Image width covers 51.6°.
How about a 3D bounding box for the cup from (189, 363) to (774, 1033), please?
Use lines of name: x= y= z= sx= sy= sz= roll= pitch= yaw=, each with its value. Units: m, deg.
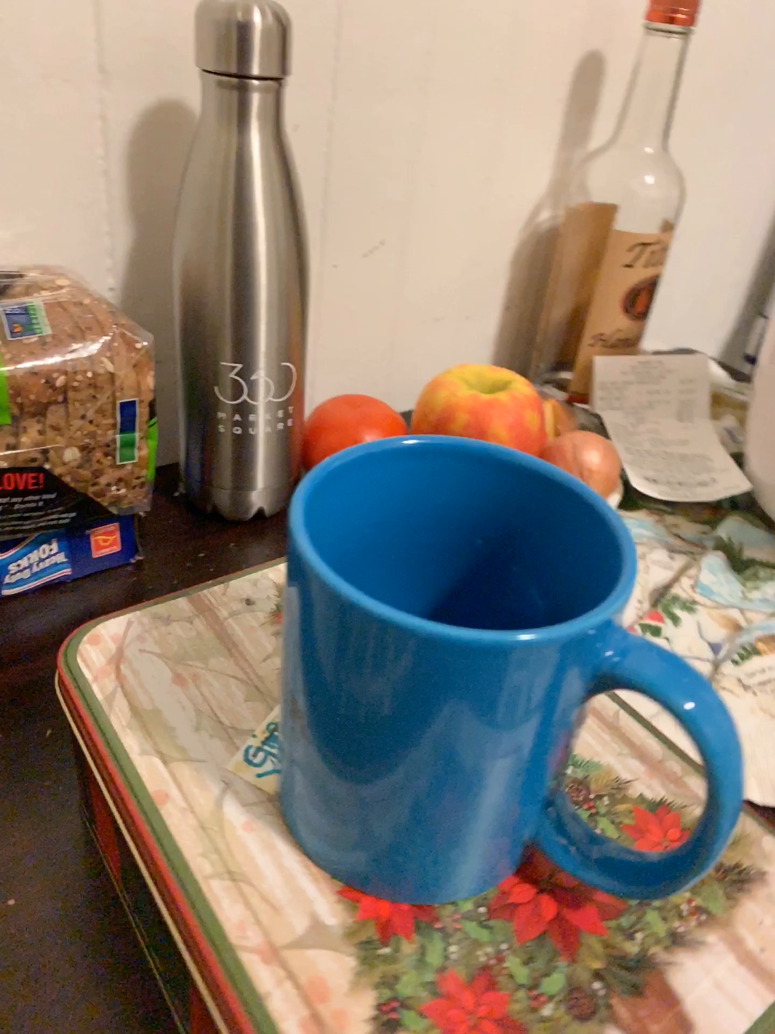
cup: x=0.031 y=0.040 z=0.205 sx=0.130 sy=0.099 sz=0.090 roll=24 pitch=37 yaw=22
